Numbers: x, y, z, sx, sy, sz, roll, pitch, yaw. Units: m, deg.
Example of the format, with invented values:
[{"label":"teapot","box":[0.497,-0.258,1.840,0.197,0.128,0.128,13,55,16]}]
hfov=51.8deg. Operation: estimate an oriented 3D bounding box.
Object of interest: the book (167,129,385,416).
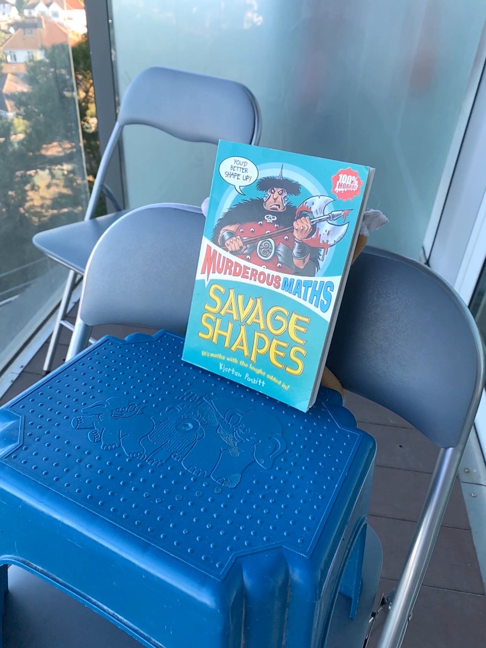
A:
[{"label":"book","box":[0.018,-0.043,0.402,0.134,0.193,0.029,19,18,22]}]
